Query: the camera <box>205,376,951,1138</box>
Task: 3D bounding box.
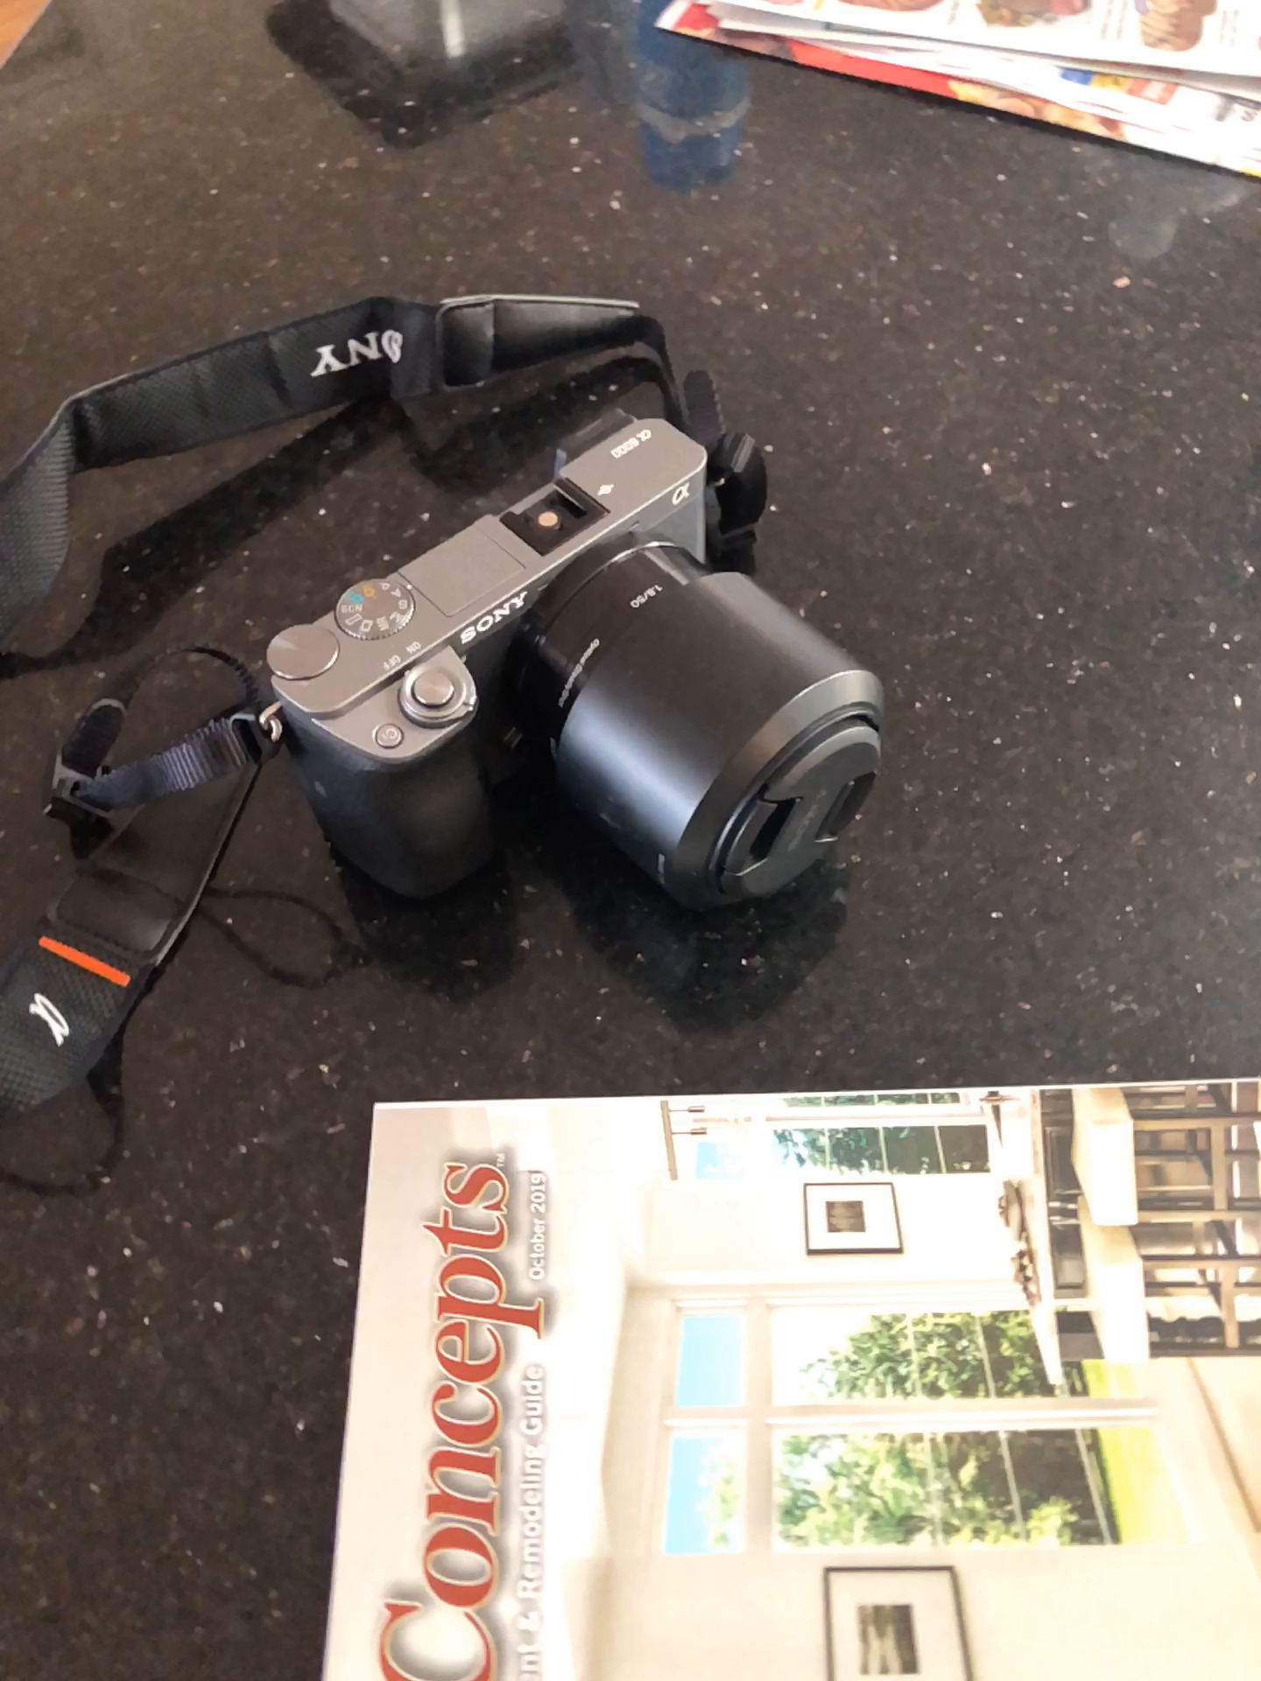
[{"bbox_3d":[-0.010,-0.021,0.342,0.127,0.100,0.099,-37,64,-20],"label":"camera"}]
